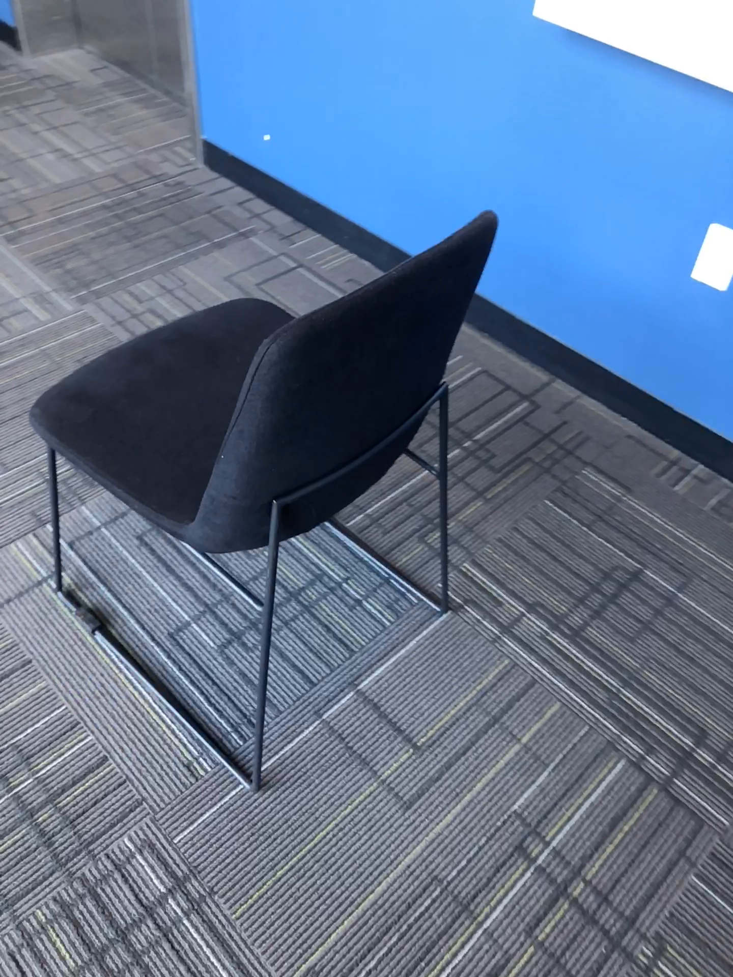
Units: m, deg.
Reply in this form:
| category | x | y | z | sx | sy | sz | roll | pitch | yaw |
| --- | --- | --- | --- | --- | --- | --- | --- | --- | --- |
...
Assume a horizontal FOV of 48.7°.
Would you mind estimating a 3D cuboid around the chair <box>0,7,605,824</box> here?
| category | x | y | z | sx | sy | sz | roll | pitch | yaw |
| --- | --- | --- | --- | --- | --- | --- | --- | --- | --- |
| chair | -0.165 | -0.096 | 1.090 | 0.551 | 0.767 | 0.561 | 35 | 53 | 26 |
